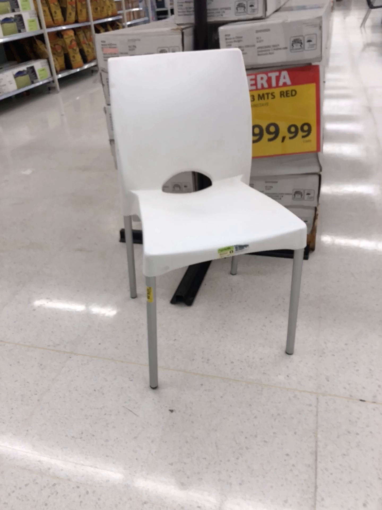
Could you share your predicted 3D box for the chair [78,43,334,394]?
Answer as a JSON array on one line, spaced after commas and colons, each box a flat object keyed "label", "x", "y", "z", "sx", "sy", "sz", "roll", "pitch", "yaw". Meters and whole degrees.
[{"label": "chair", "x": 0.005, "y": -0.138, "z": 1.245, "sx": 0.500, "sy": 0.794, "sz": 0.564, "roll": -10, "pitch": 32, "yaw": -10}]
